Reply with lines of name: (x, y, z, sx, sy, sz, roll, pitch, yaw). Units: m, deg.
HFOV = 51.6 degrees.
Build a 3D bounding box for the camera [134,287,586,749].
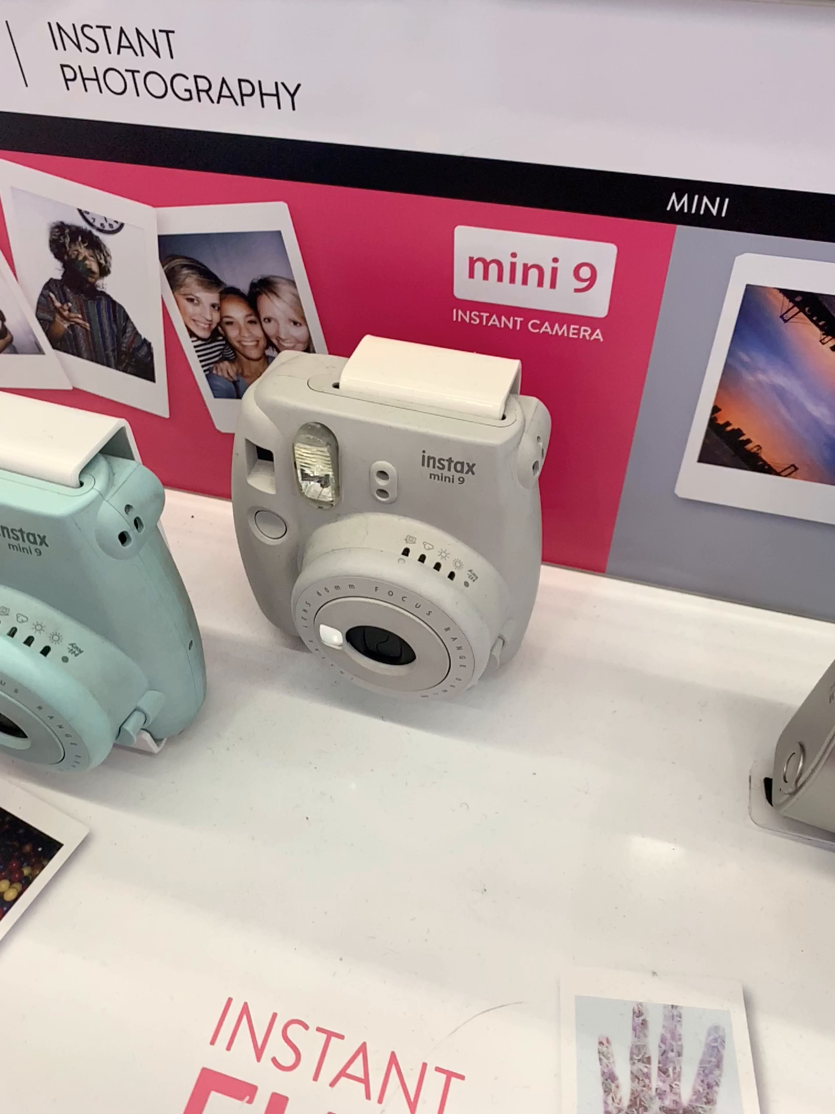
camera: (-0.012, -0.013, 0.290, 0.110, 0.109, 0.081, 13, 48, 13)
